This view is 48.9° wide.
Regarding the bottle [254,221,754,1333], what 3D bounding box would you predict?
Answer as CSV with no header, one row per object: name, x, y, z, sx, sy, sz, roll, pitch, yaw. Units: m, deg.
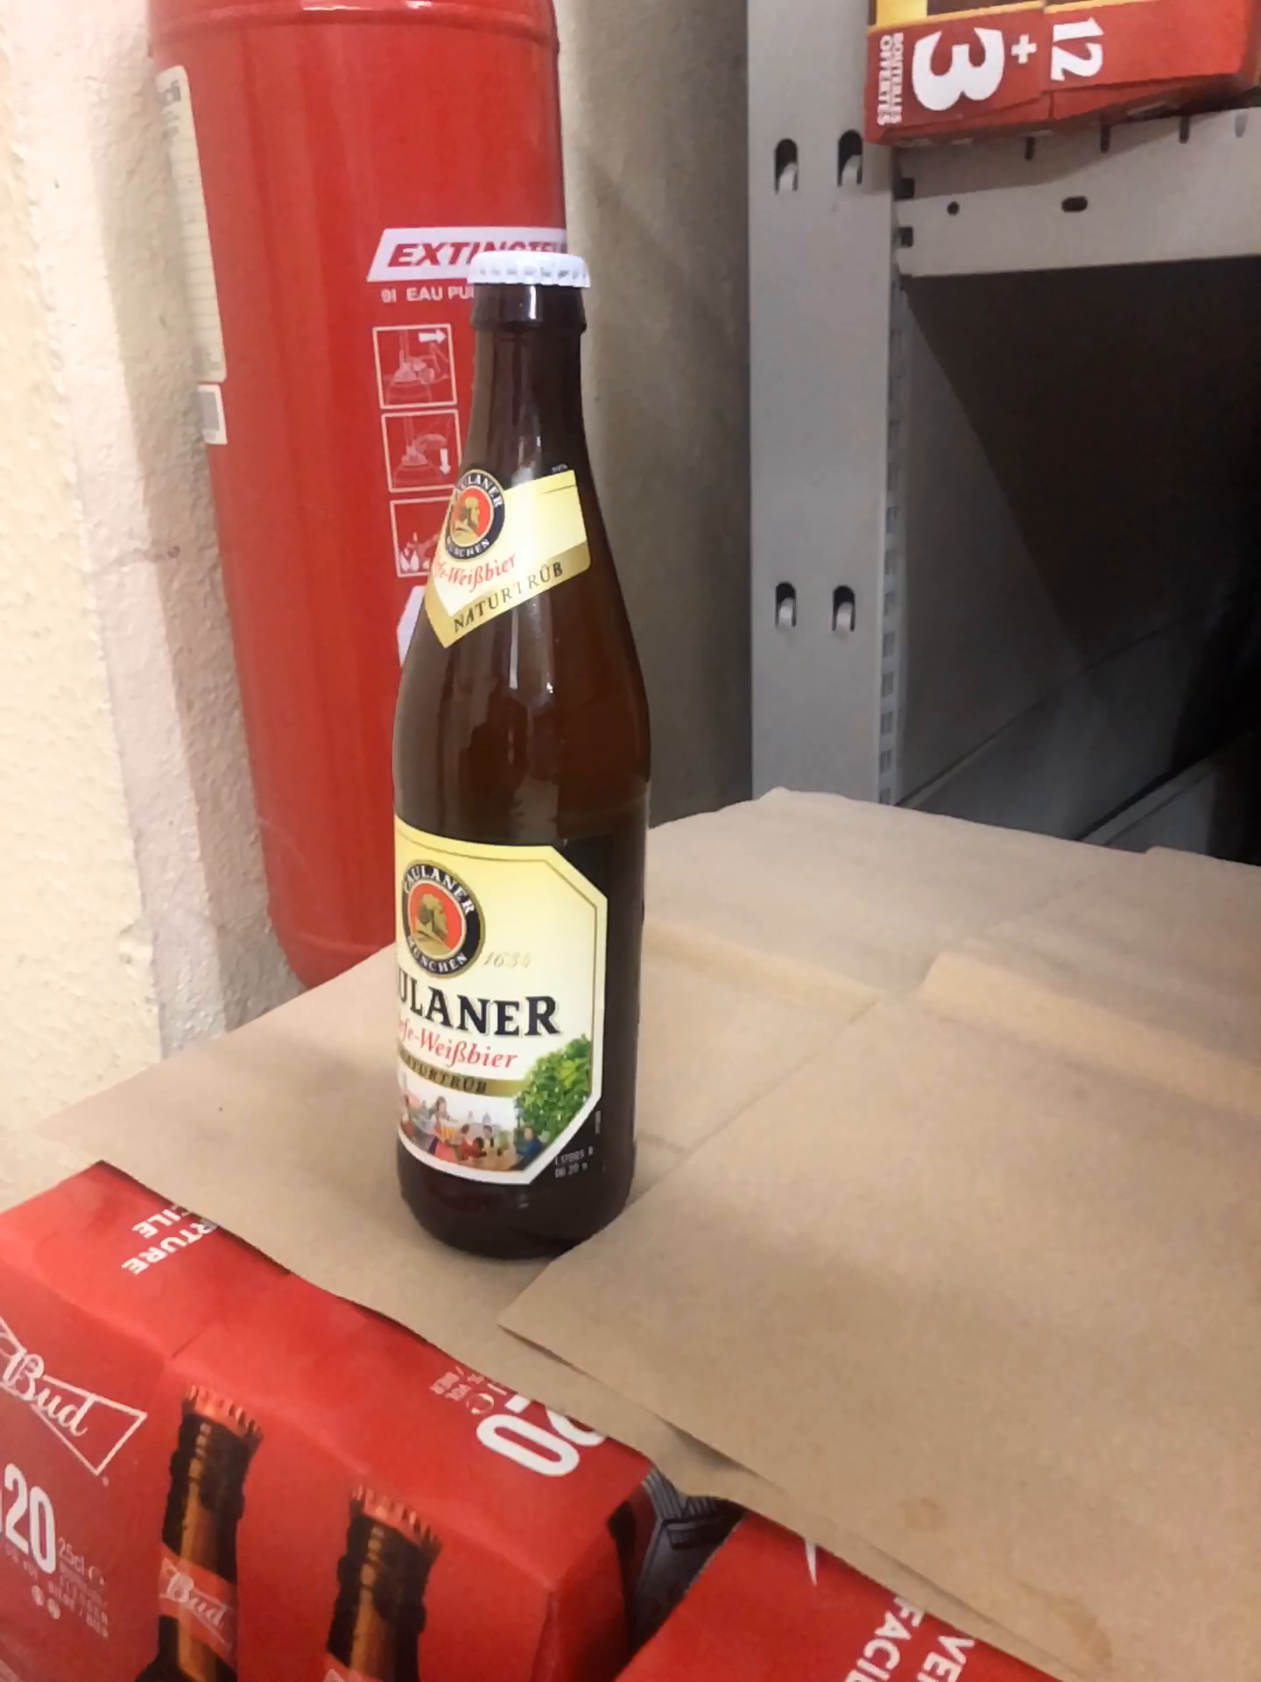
bottle,-0.027,-0.017,0.342,0.080,0.239,0.080,-1,17,0
